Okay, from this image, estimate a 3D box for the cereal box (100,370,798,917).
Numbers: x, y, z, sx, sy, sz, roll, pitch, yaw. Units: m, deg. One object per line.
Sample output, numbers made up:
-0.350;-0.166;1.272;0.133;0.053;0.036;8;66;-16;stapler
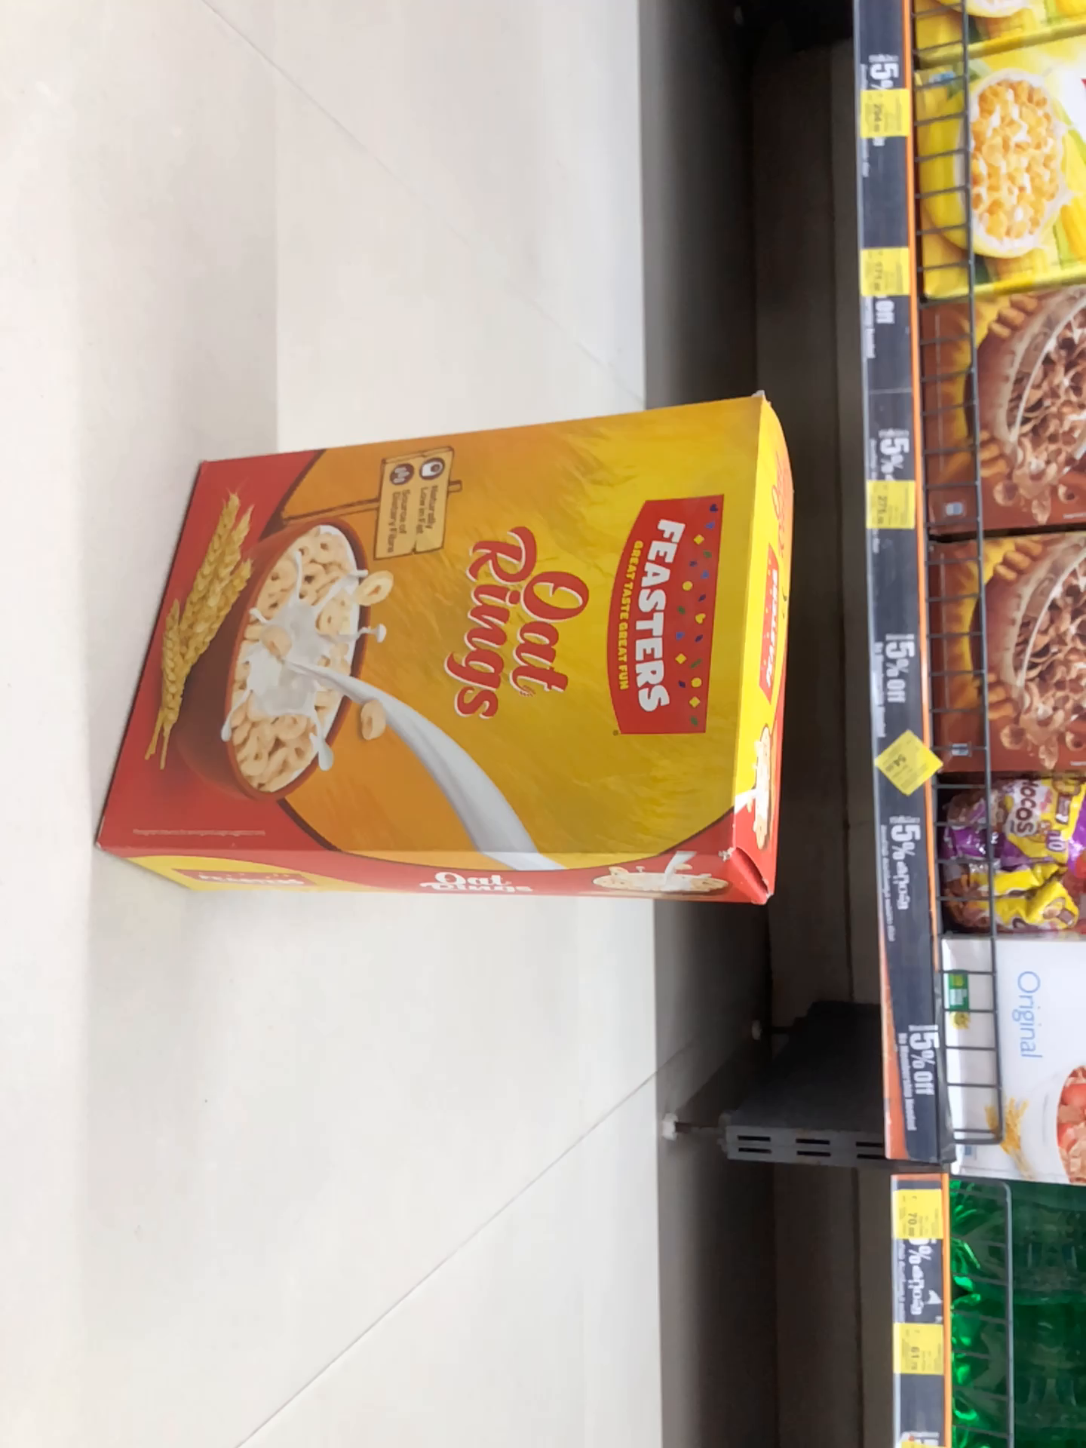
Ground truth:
-0.025;-0.024;0.436;0.070;0.219;0.170;54;38;-58;cereal box
